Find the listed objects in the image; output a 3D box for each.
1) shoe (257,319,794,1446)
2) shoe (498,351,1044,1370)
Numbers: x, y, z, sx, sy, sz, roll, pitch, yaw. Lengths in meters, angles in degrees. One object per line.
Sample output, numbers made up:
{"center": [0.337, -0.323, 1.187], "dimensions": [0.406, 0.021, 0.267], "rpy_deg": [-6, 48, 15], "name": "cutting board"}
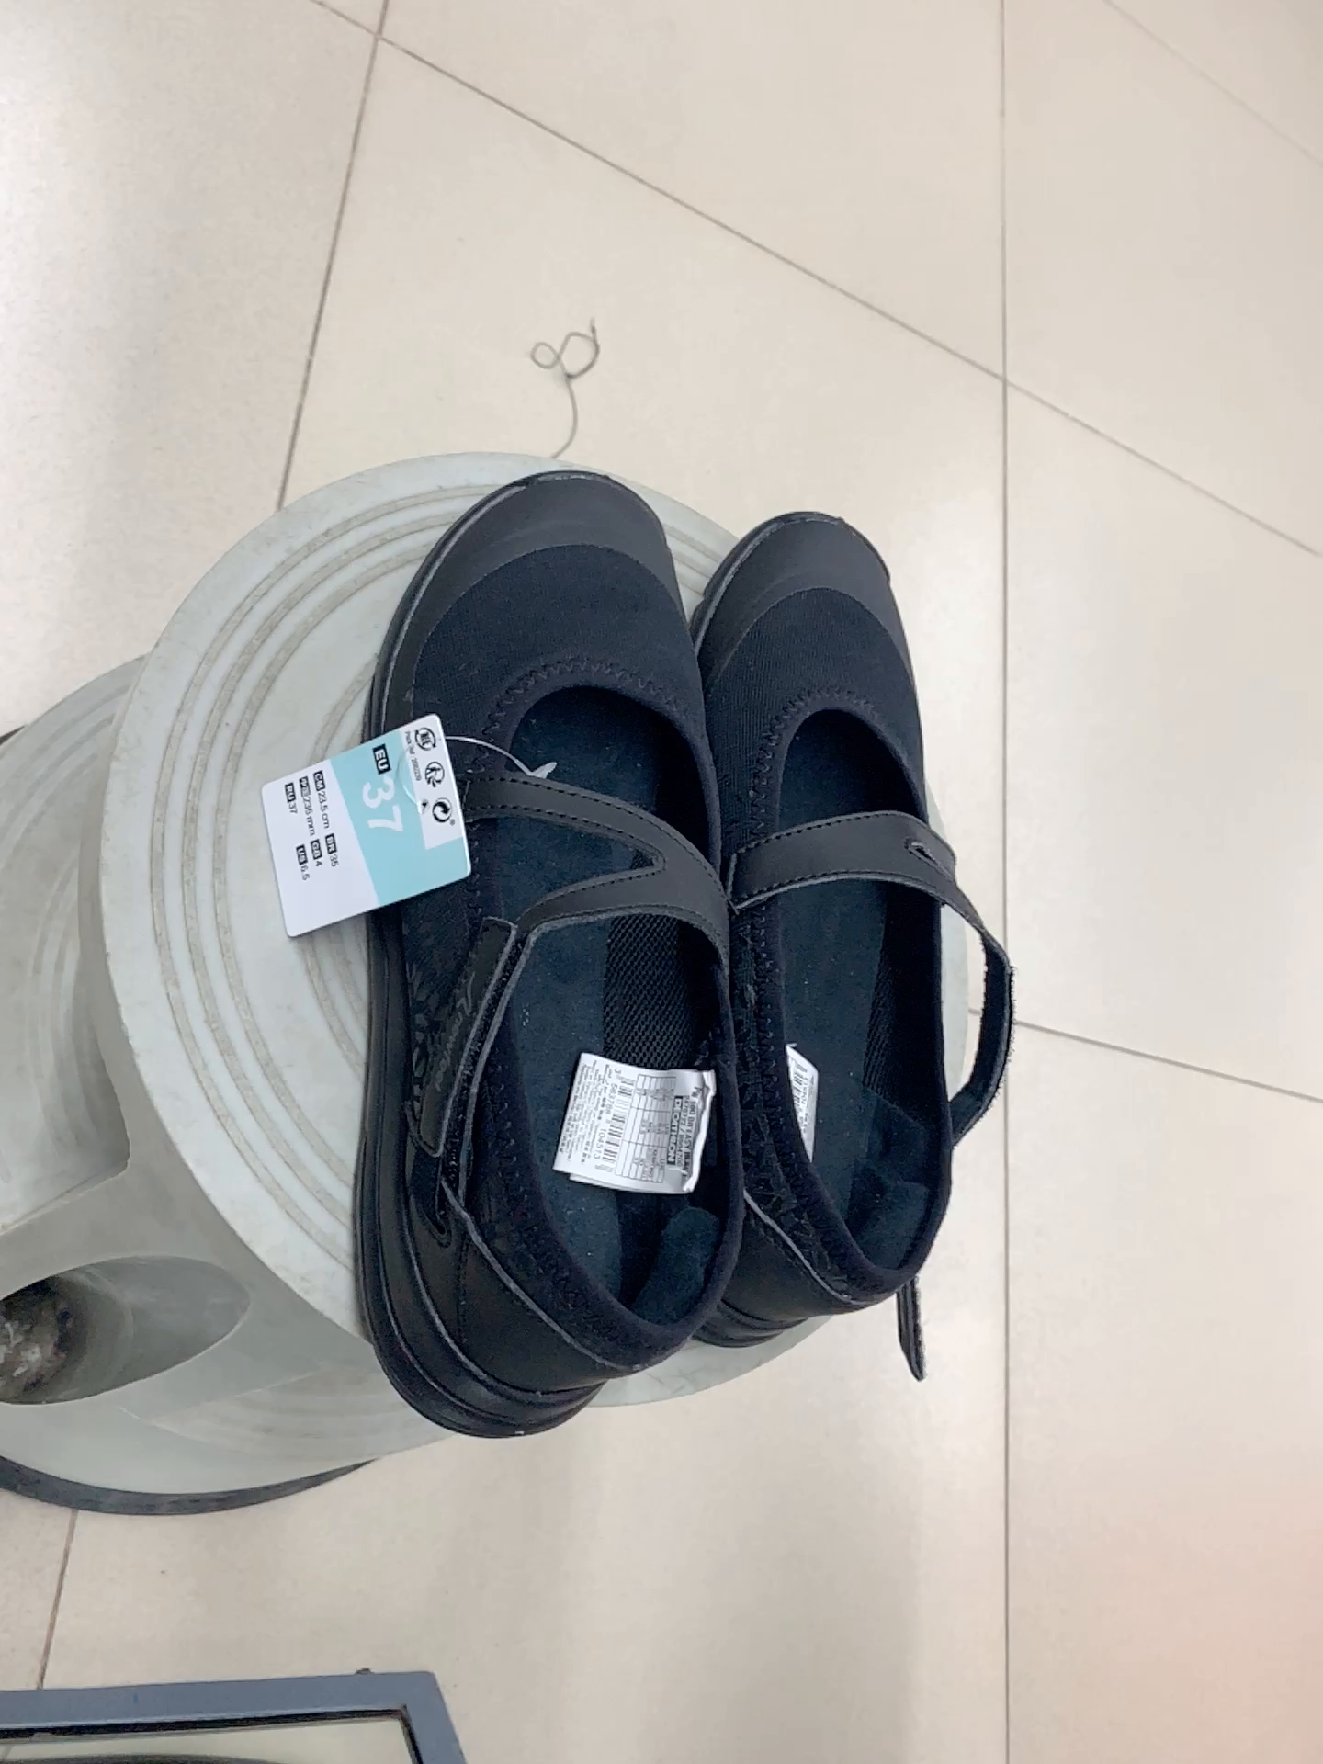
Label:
{"center": [-0.028, 0.003, 0.340], "dimensions": [0.090, 0.080, 0.250], "rpy_deg": [13, 69, -29], "name": "shoe"}
{"center": [0.038, -0.004, 0.378], "dimensions": [0.100, 0.080, 0.250], "rpy_deg": [19, 66, -26], "name": "shoe"}
